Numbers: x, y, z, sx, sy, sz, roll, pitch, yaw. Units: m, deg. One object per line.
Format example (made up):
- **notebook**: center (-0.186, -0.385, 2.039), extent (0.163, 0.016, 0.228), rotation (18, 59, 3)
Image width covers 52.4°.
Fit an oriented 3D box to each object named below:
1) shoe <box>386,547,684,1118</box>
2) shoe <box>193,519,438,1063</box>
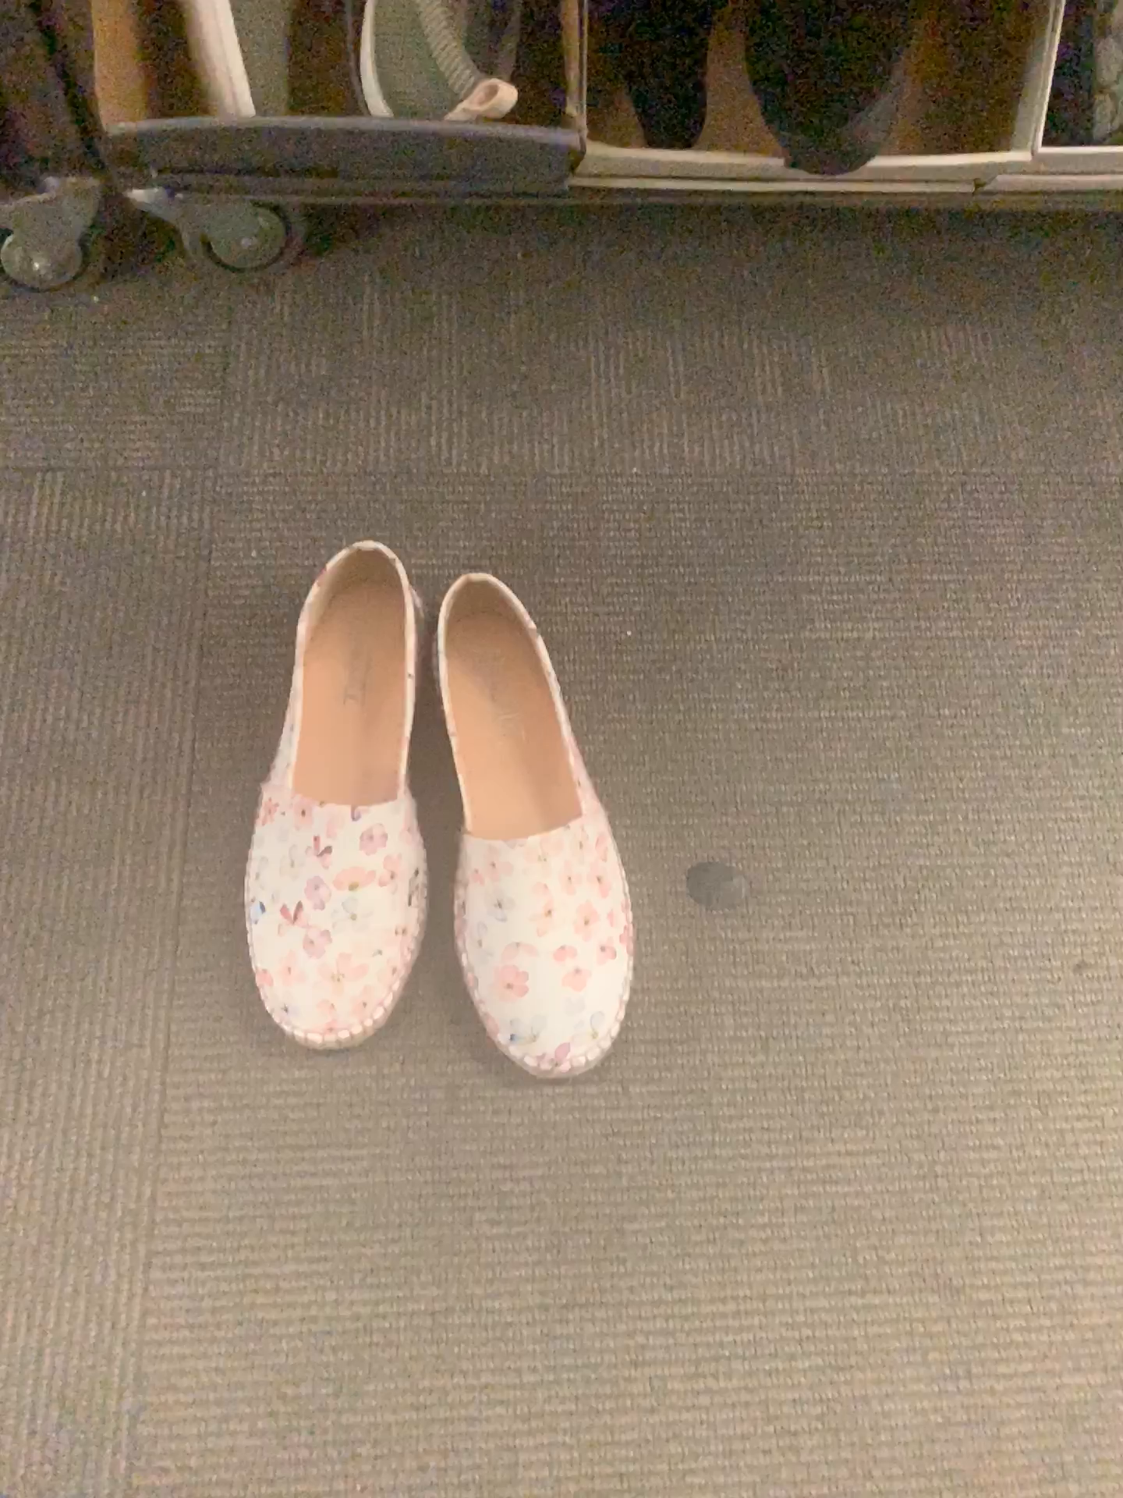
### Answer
- **shoe**: center (-0.020, 0.039, 0.576), extent (0.091, 0.080, 0.263), rotation (-10, 70, -6)
- **shoe**: center (-0.116, 0.019, 0.580), extent (0.091, 0.080, 0.263), rotation (1, 69, -2)
